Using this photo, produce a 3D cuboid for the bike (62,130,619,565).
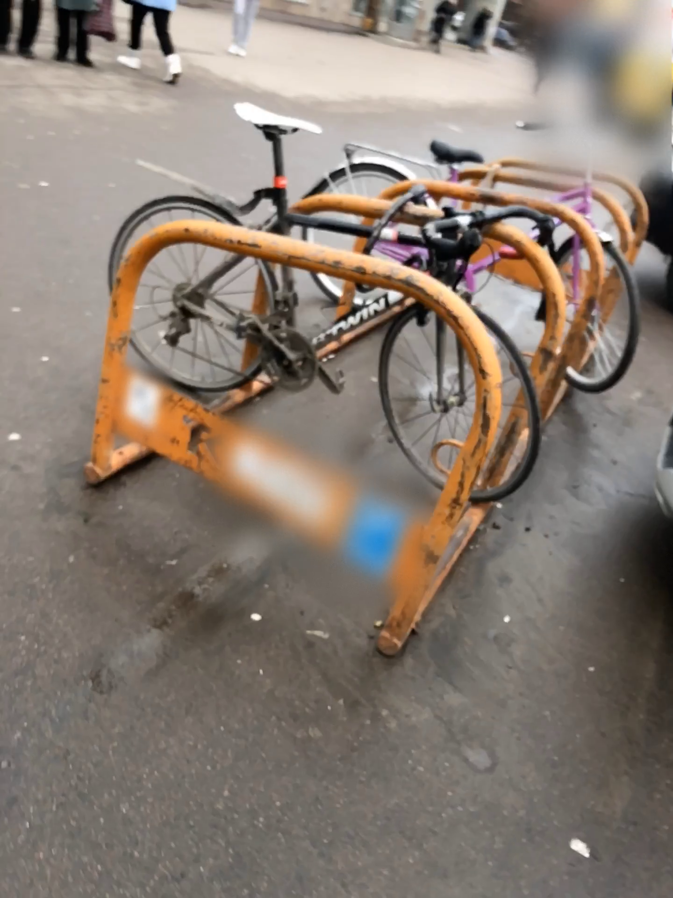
[{"bbox_3d":[-0.079,-0.391,2.256,1.517,0.761,0.492,25,31,19],"label":"bike"}]
